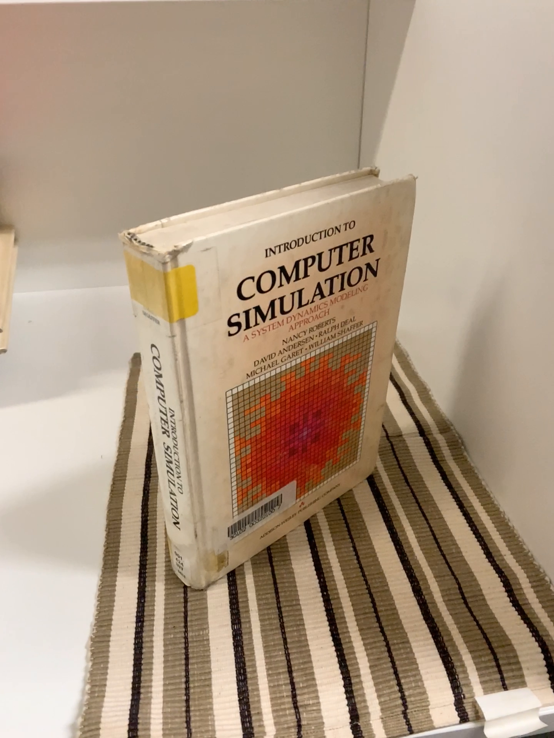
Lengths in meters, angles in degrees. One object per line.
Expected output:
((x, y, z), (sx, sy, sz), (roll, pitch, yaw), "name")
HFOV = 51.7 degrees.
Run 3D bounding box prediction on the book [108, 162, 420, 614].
((0.002, 0.014, 0.351), (0.171, 0.238, 0.040), (-26, 42, -34), "book")
